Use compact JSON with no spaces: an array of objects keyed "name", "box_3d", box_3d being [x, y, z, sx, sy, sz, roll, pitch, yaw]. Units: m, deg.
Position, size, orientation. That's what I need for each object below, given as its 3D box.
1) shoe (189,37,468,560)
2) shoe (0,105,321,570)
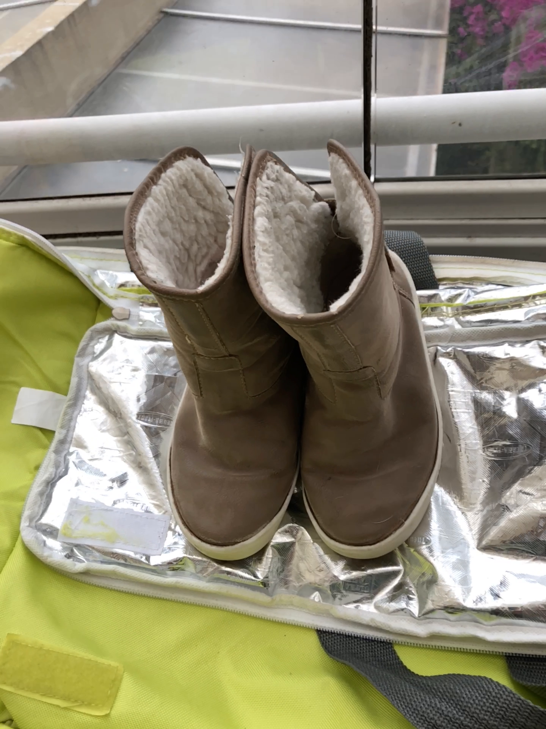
[{"name":"shoe","box_3d":[0.038,-0.010,0.302,0.089,0.169,0.201,-1,72,13]},{"name":"shoe","box_3d":[-0.038,0.004,0.322,0.089,0.169,0.191,0,72,14]}]
